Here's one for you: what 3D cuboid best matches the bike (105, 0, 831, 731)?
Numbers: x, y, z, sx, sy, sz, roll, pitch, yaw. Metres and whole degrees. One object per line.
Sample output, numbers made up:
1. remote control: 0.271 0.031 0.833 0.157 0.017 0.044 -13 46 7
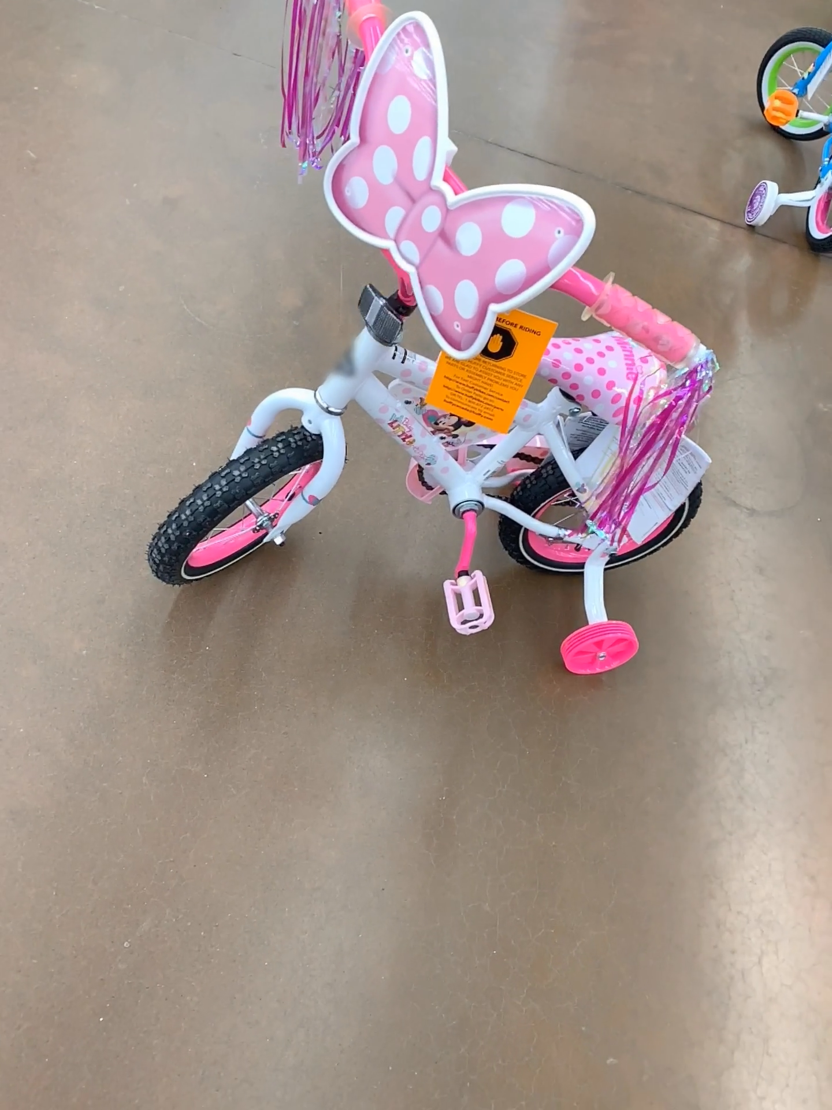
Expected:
1. bike: 0.064 -0.203 0.996 0.725 0.648 0.502 -5 56 -17
